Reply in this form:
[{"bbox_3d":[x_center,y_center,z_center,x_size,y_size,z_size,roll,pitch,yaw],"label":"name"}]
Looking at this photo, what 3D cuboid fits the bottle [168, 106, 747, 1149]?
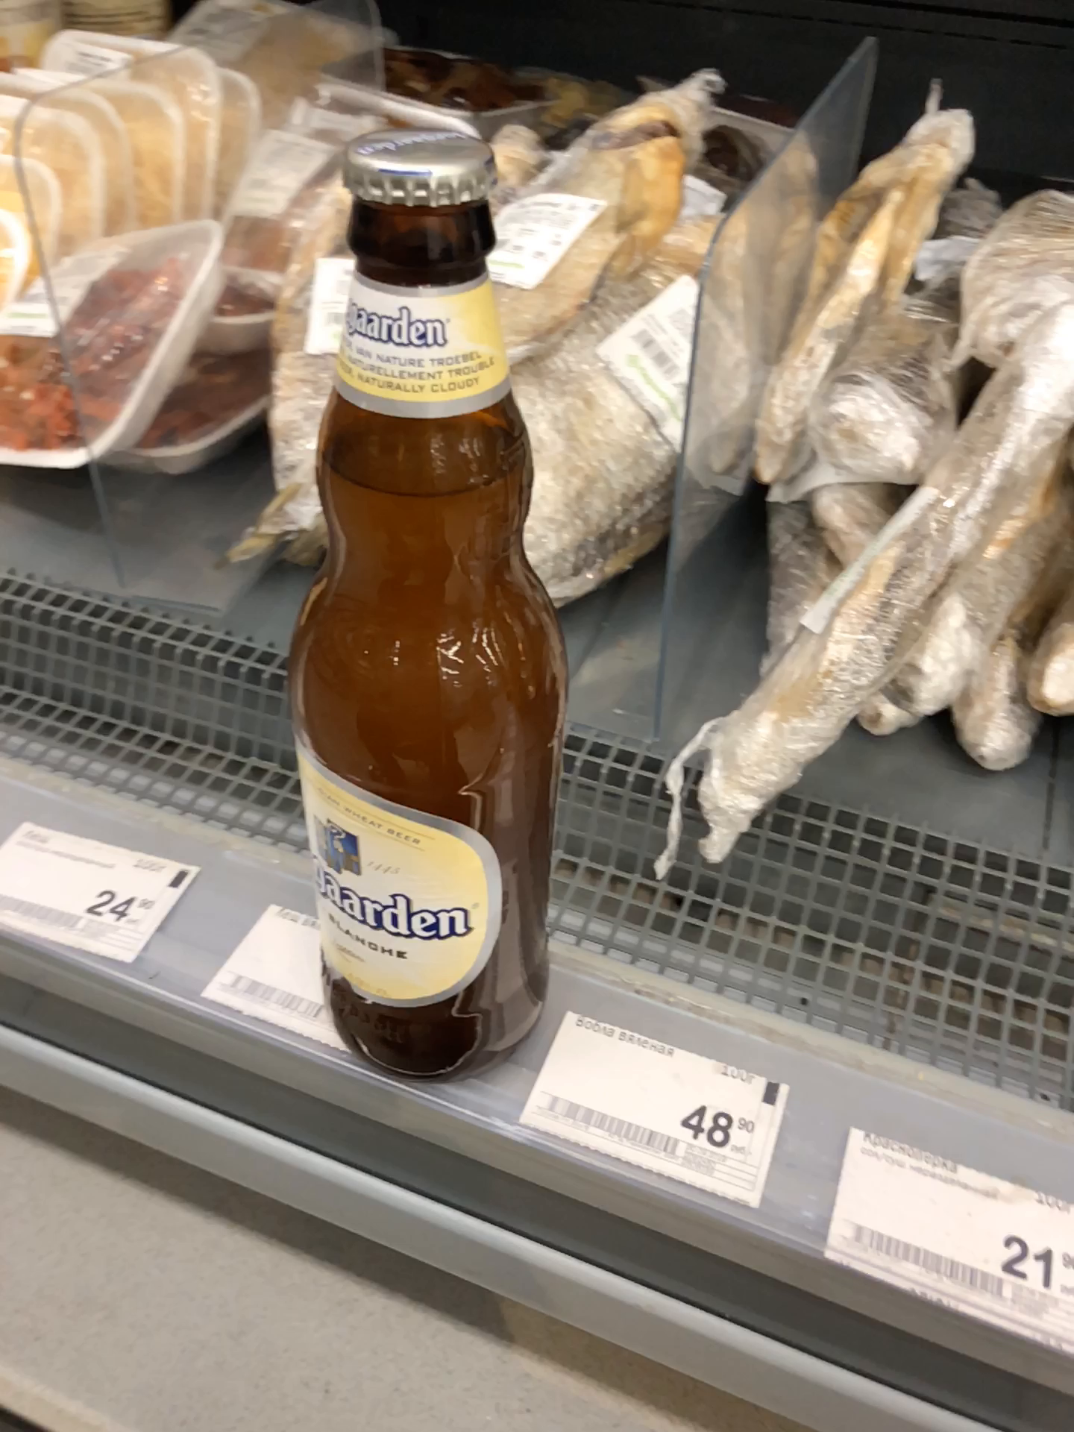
[{"bbox_3d":[-0.015,-0.004,0.278,0.070,0.229,0.070,1,41,-1],"label":"bottle"}]
